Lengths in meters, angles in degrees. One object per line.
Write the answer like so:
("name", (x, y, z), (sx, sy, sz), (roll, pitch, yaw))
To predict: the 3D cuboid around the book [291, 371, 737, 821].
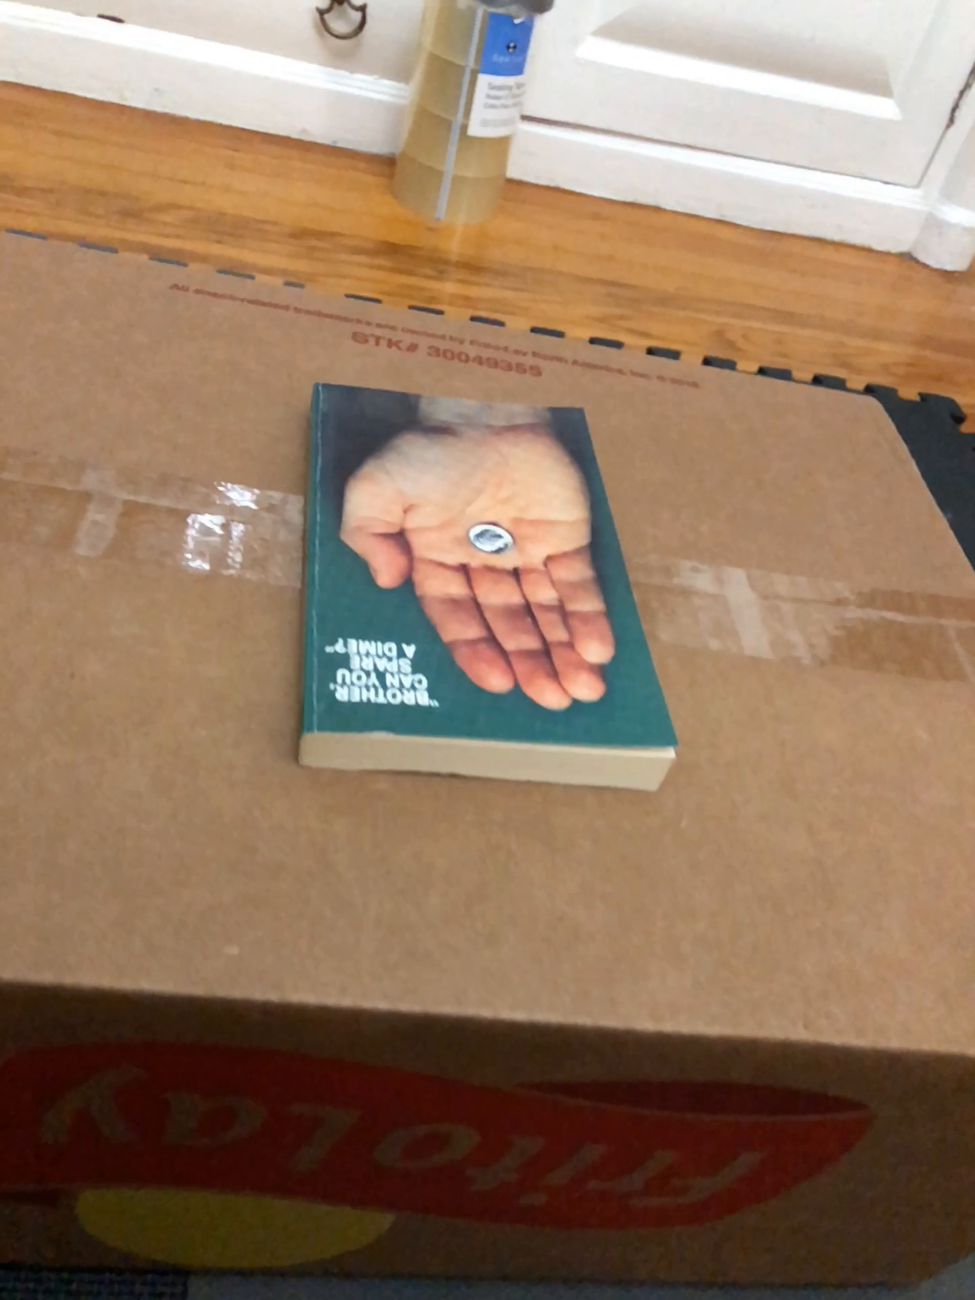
("book", (0.000, -0.027, 0.354), (0.120, 0.020, 0.181), (5, 45, -13))
